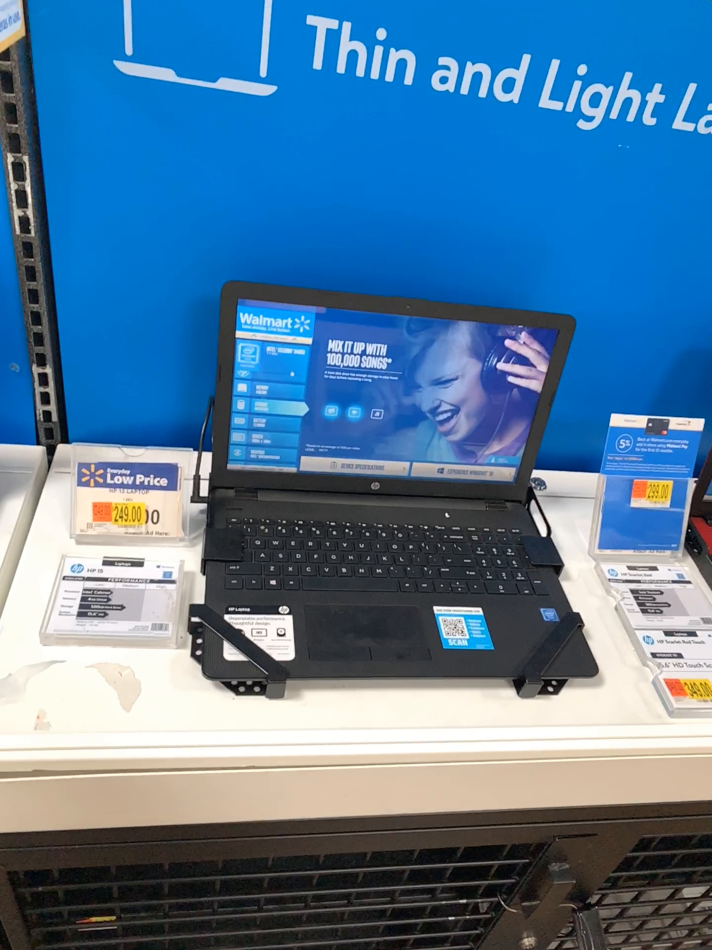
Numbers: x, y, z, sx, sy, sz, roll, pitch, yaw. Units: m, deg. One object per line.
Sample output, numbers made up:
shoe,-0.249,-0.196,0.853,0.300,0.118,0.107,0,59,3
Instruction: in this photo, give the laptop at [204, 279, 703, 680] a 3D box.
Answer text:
laptop,0.048,0.002,0.692,0.363,0.225,0.287,3,40,-12
